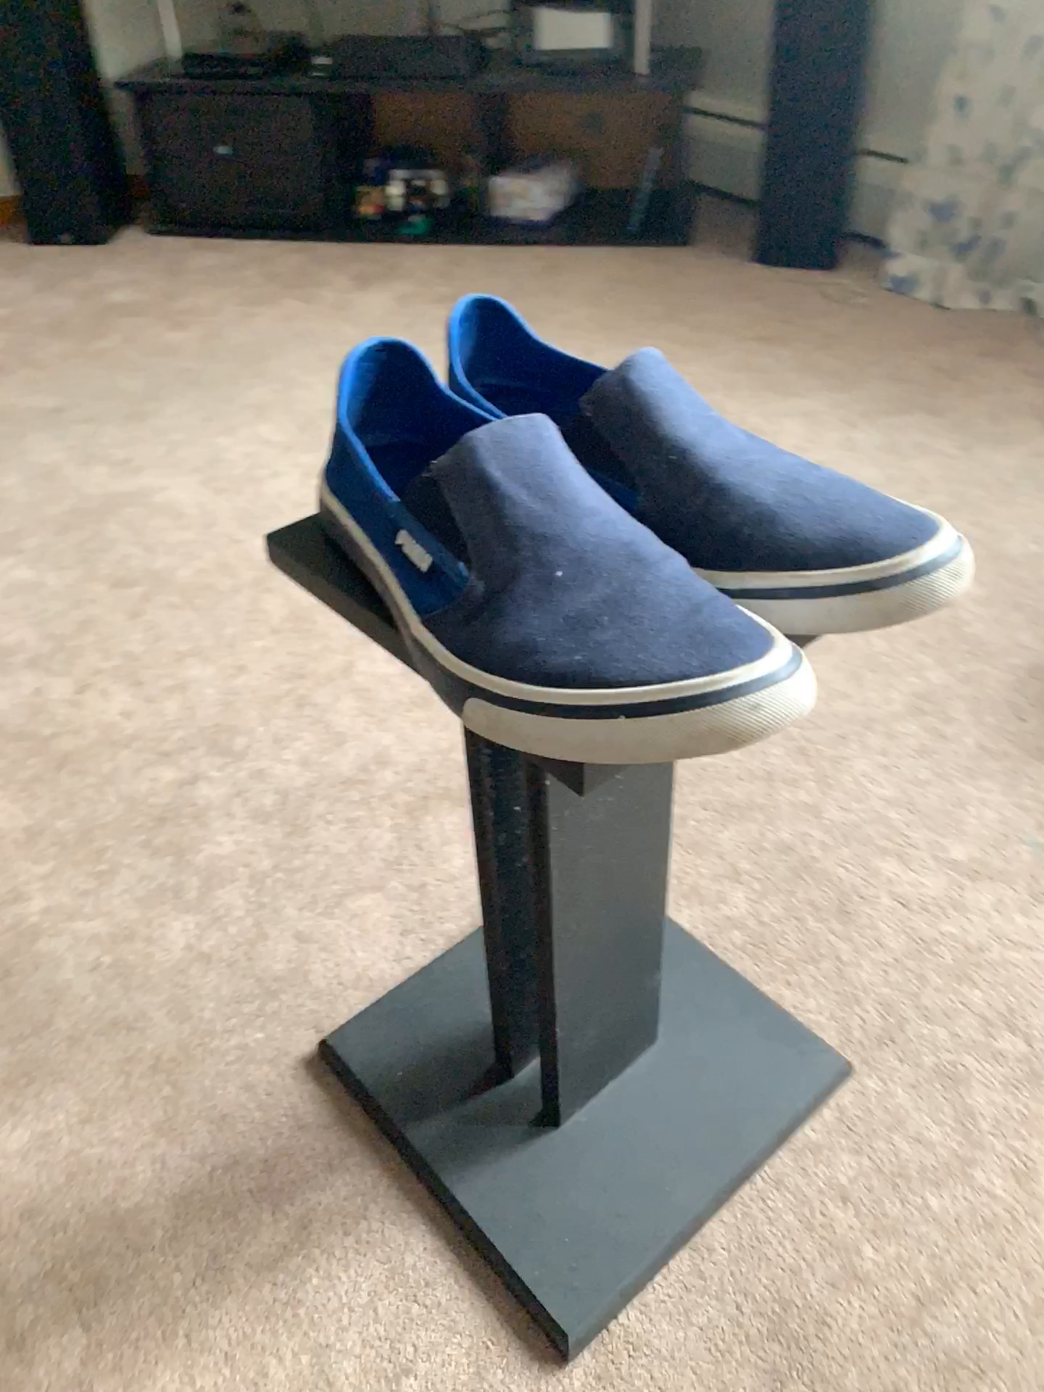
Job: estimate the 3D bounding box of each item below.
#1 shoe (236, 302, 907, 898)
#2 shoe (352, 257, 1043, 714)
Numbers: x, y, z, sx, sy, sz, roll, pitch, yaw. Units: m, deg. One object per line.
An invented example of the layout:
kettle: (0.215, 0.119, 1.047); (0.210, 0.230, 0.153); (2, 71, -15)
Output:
shoe: (-0.005, -0.068, 0.440); (0.120, 0.079, 0.302); (-21, 42, -21)
shoe: (0.067, -0.116, 0.492); (0.121, 0.079, 0.301); (-33, 48, -32)
